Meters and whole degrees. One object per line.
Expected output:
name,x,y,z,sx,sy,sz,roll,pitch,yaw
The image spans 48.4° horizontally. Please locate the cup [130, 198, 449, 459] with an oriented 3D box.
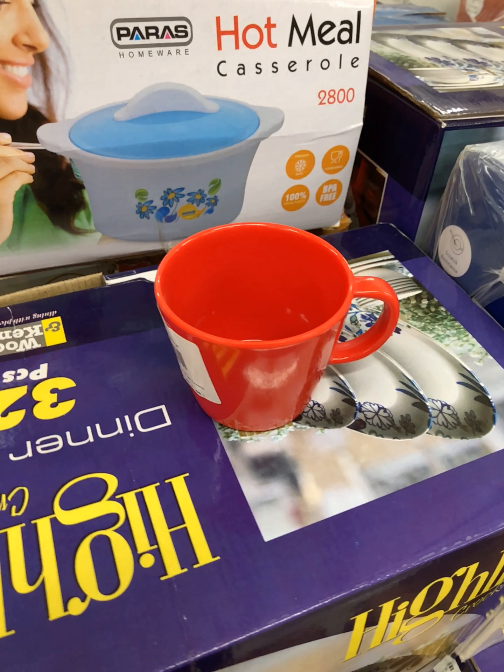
cup,0.010,-0.009,0.235,0.100,0.050,0.080,-13,45,-18
